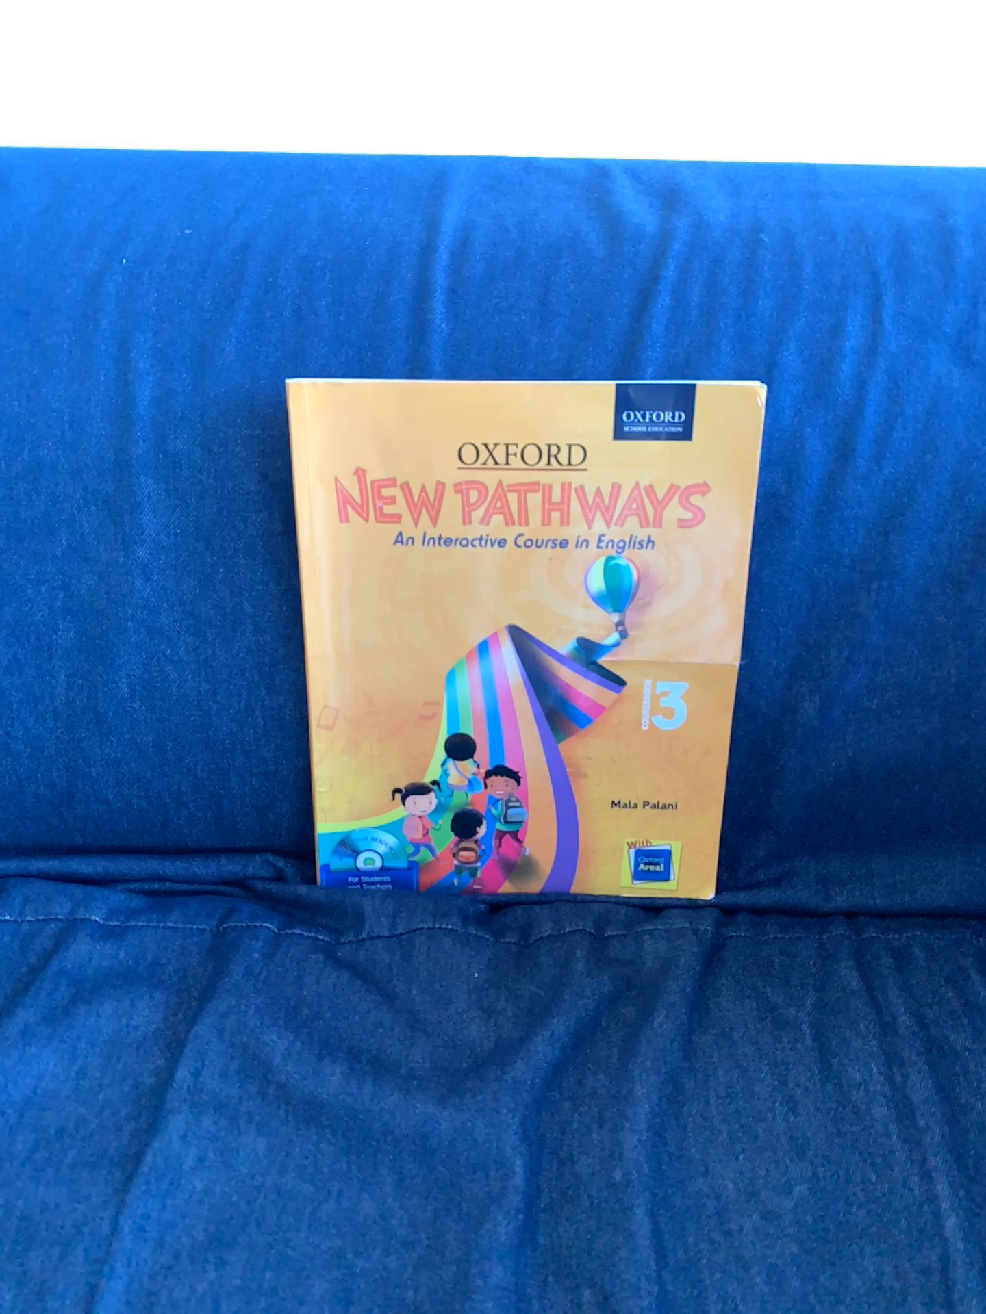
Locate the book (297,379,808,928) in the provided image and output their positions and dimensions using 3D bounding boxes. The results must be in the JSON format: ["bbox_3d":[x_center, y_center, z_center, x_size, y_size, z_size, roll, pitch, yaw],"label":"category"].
[{"bbox_3d":[0.024,0.008,0.515,0.230,0.283,0.030,1,20,0],"label":"book"}]
